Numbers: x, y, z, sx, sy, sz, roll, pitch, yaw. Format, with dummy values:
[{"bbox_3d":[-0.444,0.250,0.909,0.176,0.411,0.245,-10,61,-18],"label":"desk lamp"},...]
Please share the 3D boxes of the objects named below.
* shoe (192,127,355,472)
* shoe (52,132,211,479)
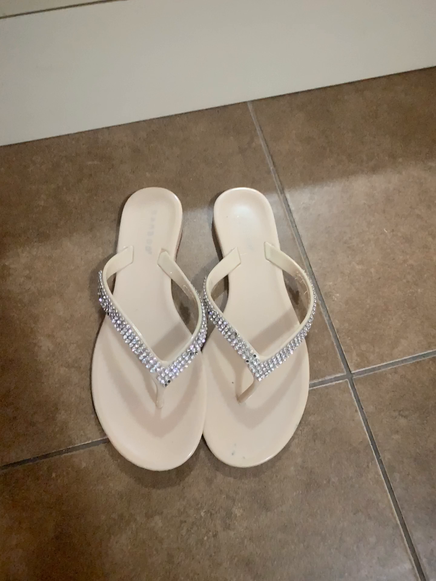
[{"bbox_3d":[0.030,0.000,0.339,0.091,0.067,0.250,-2,69,-1],"label":"shoe"},{"bbox_3d":[-0.056,0.005,0.338,0.093,0.067,0.250,-2,69,-1],"label":"shoe"}]
